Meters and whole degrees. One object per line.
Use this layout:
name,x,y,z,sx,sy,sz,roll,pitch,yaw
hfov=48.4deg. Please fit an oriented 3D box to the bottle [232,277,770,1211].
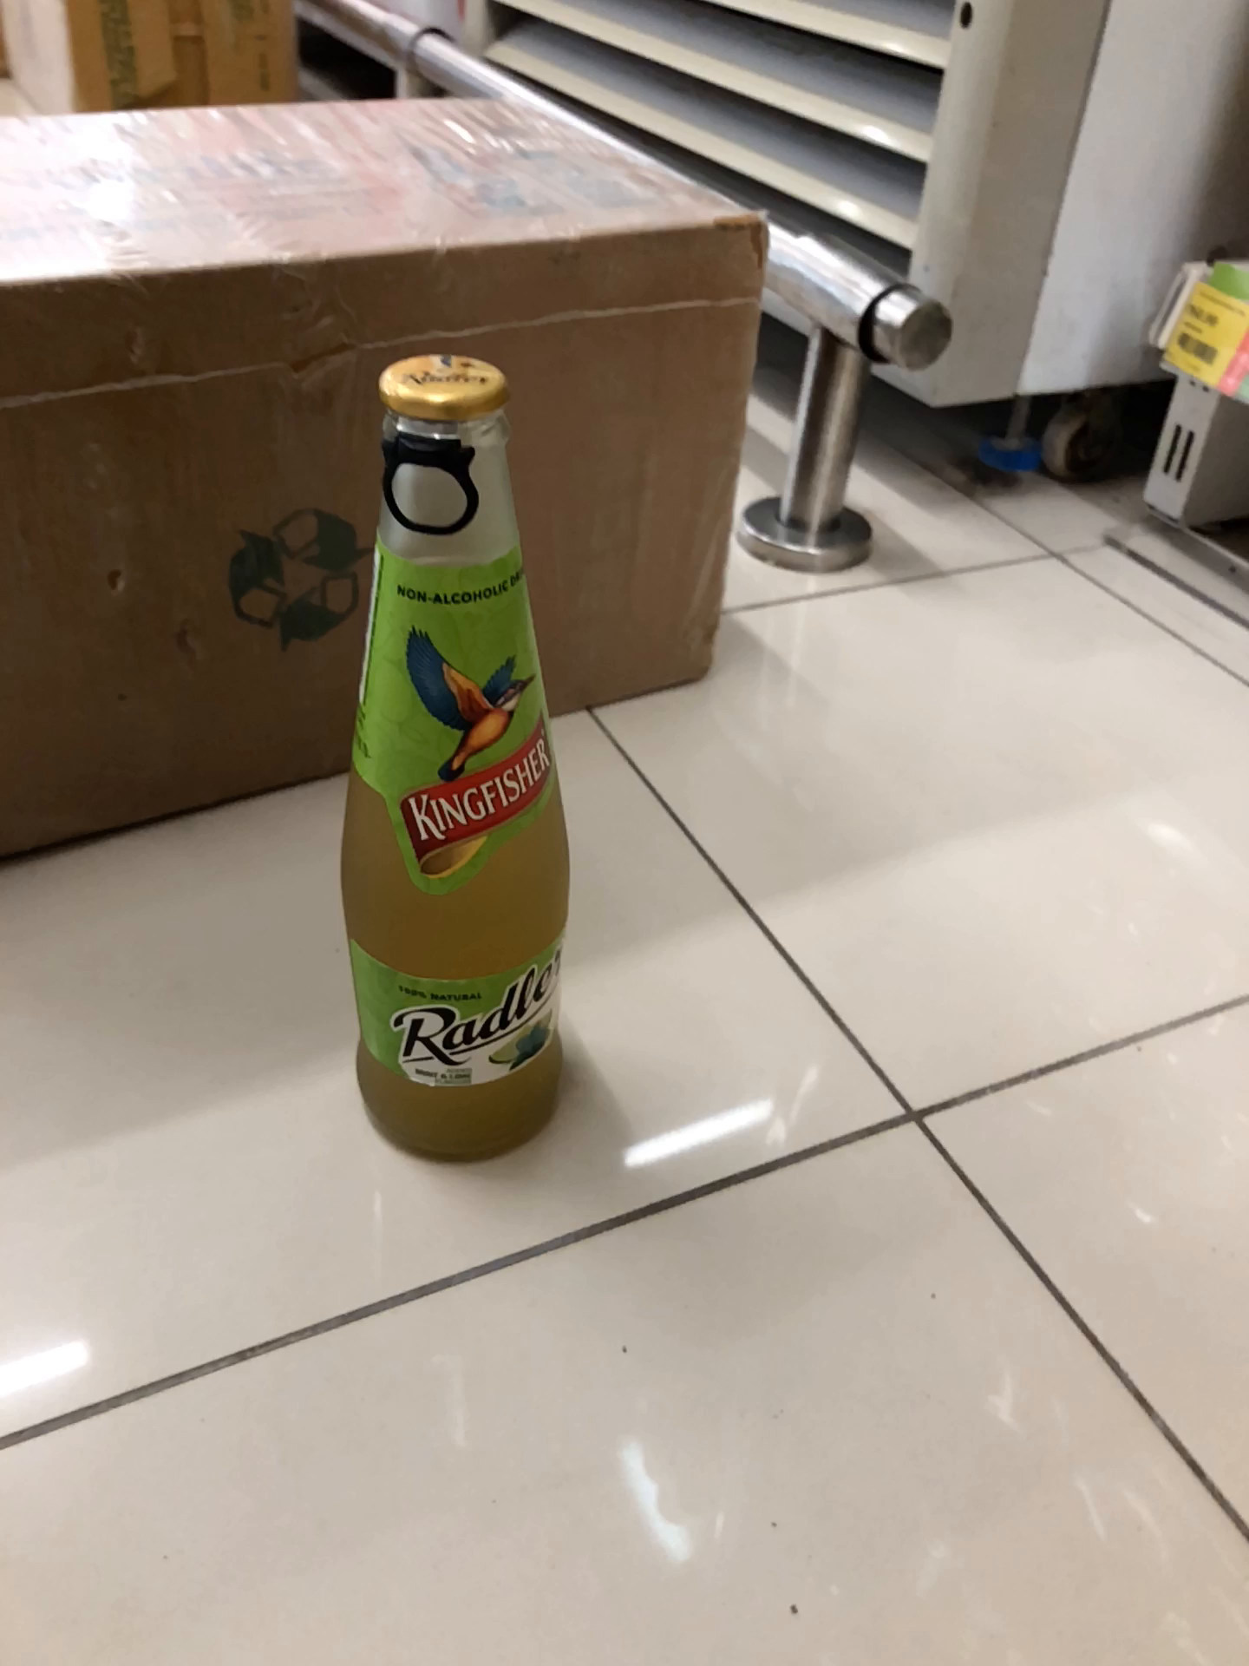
bottle,-0.033,-0.016,0.334,0.080,0.199,0.080,3,37,-2
